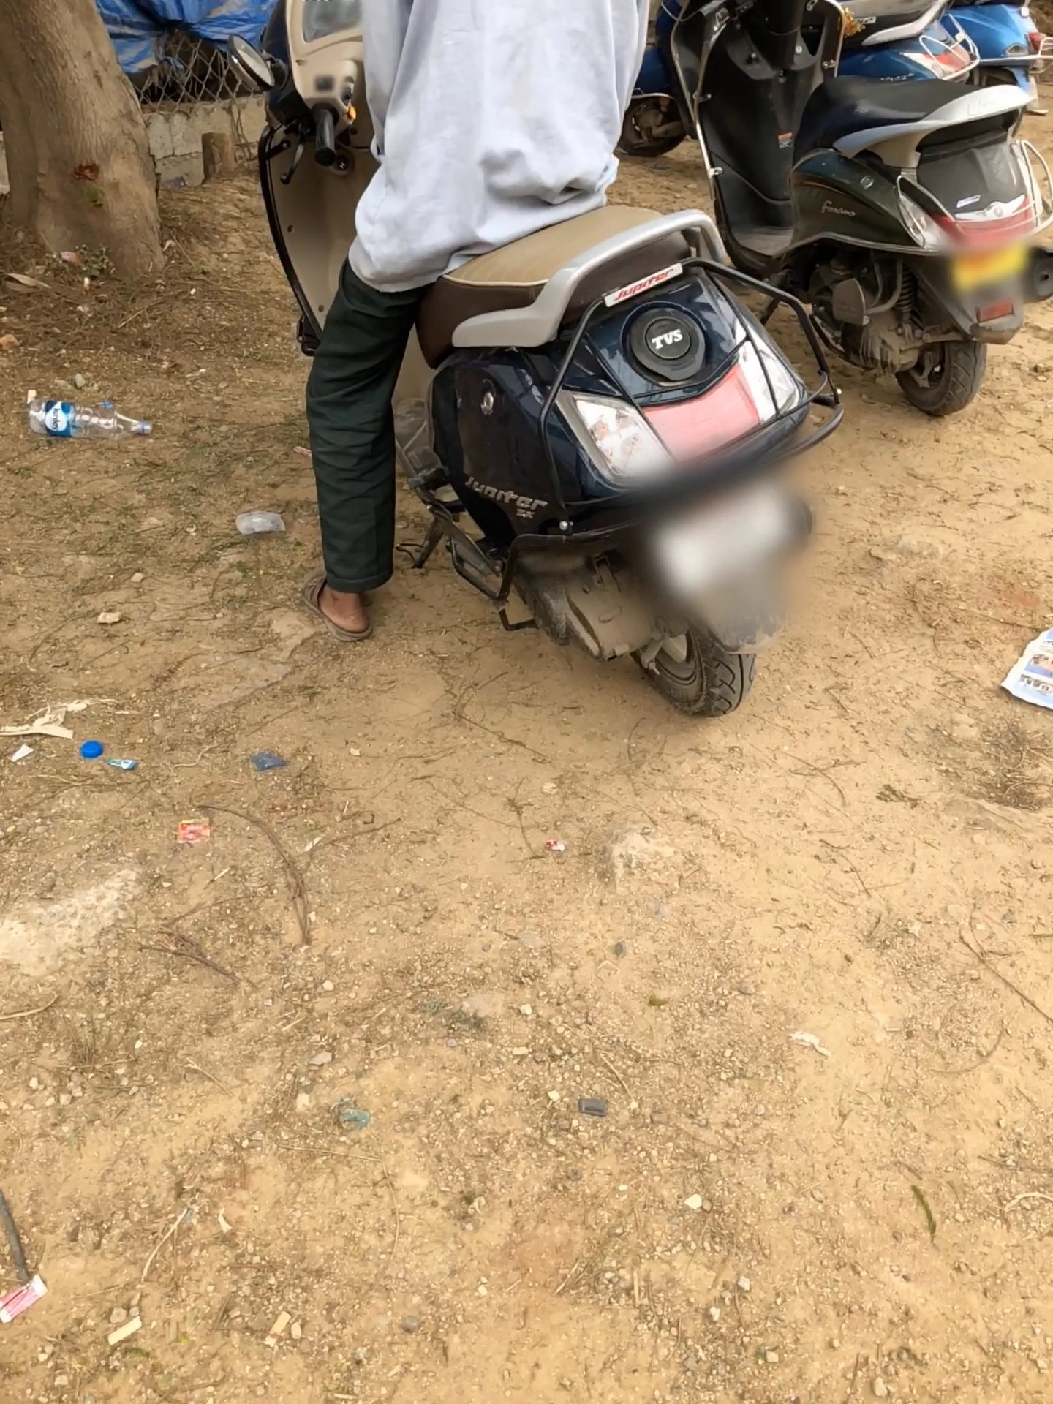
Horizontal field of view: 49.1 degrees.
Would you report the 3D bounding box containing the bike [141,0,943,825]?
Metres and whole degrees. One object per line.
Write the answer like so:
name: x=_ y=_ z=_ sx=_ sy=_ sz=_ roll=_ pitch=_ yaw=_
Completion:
bike: x=-0.083 y=-0.813 z=1.976 sx=0.636 sy=1.119 sz=1.347 roll=-14 pitch=44 yaw=-21
